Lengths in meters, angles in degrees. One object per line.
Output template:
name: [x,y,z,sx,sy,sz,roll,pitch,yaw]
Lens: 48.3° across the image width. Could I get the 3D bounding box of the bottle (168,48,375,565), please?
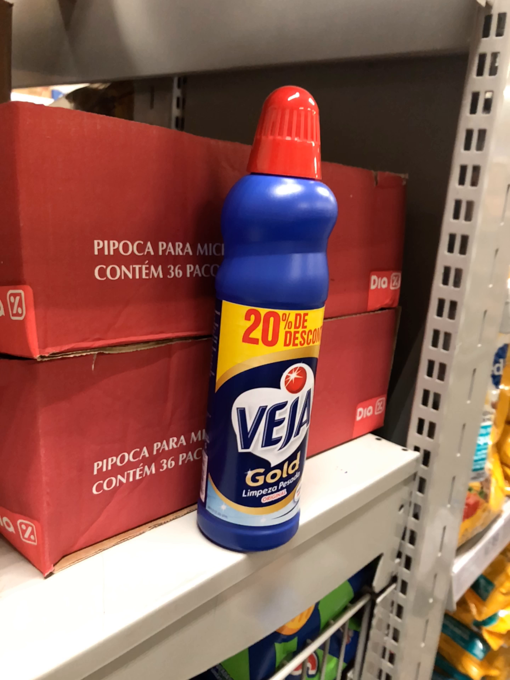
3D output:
bottle: [0.001,-0.013,0.314,0.070,0.249,0.070,4,15,-1]
